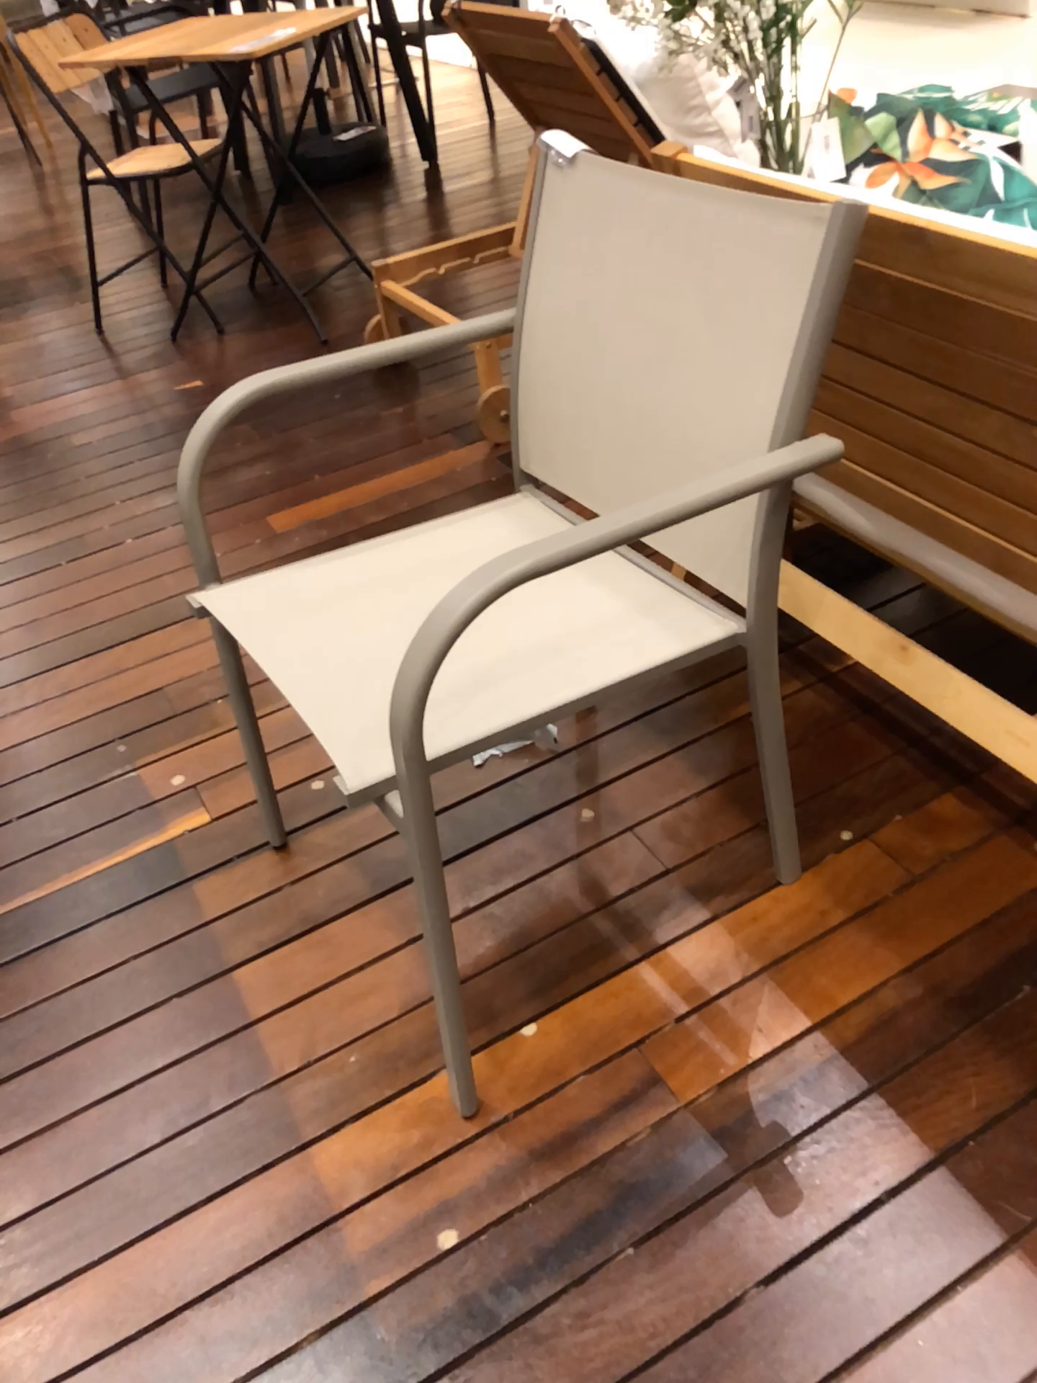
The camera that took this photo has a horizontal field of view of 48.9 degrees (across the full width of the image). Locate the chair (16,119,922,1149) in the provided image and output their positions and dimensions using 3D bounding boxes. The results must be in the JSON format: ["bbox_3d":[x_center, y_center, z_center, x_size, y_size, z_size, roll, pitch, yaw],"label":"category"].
[{"bbox_3d":[-0.043,-0.105,1.282,0.611,0.794,0.624,-25,40,-20],"label":"chair"}]
